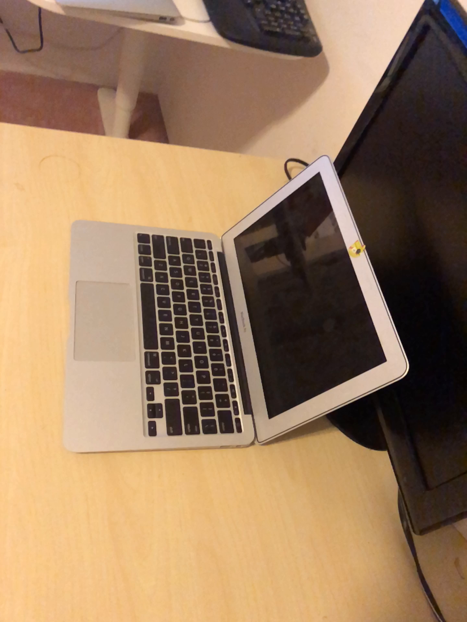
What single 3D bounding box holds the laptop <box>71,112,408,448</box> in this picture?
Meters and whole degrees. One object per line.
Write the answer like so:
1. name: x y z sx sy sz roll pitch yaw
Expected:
1. laptop: -0.022 -0.027 0.548 0.274 0.161 0.291 3 54 -20
